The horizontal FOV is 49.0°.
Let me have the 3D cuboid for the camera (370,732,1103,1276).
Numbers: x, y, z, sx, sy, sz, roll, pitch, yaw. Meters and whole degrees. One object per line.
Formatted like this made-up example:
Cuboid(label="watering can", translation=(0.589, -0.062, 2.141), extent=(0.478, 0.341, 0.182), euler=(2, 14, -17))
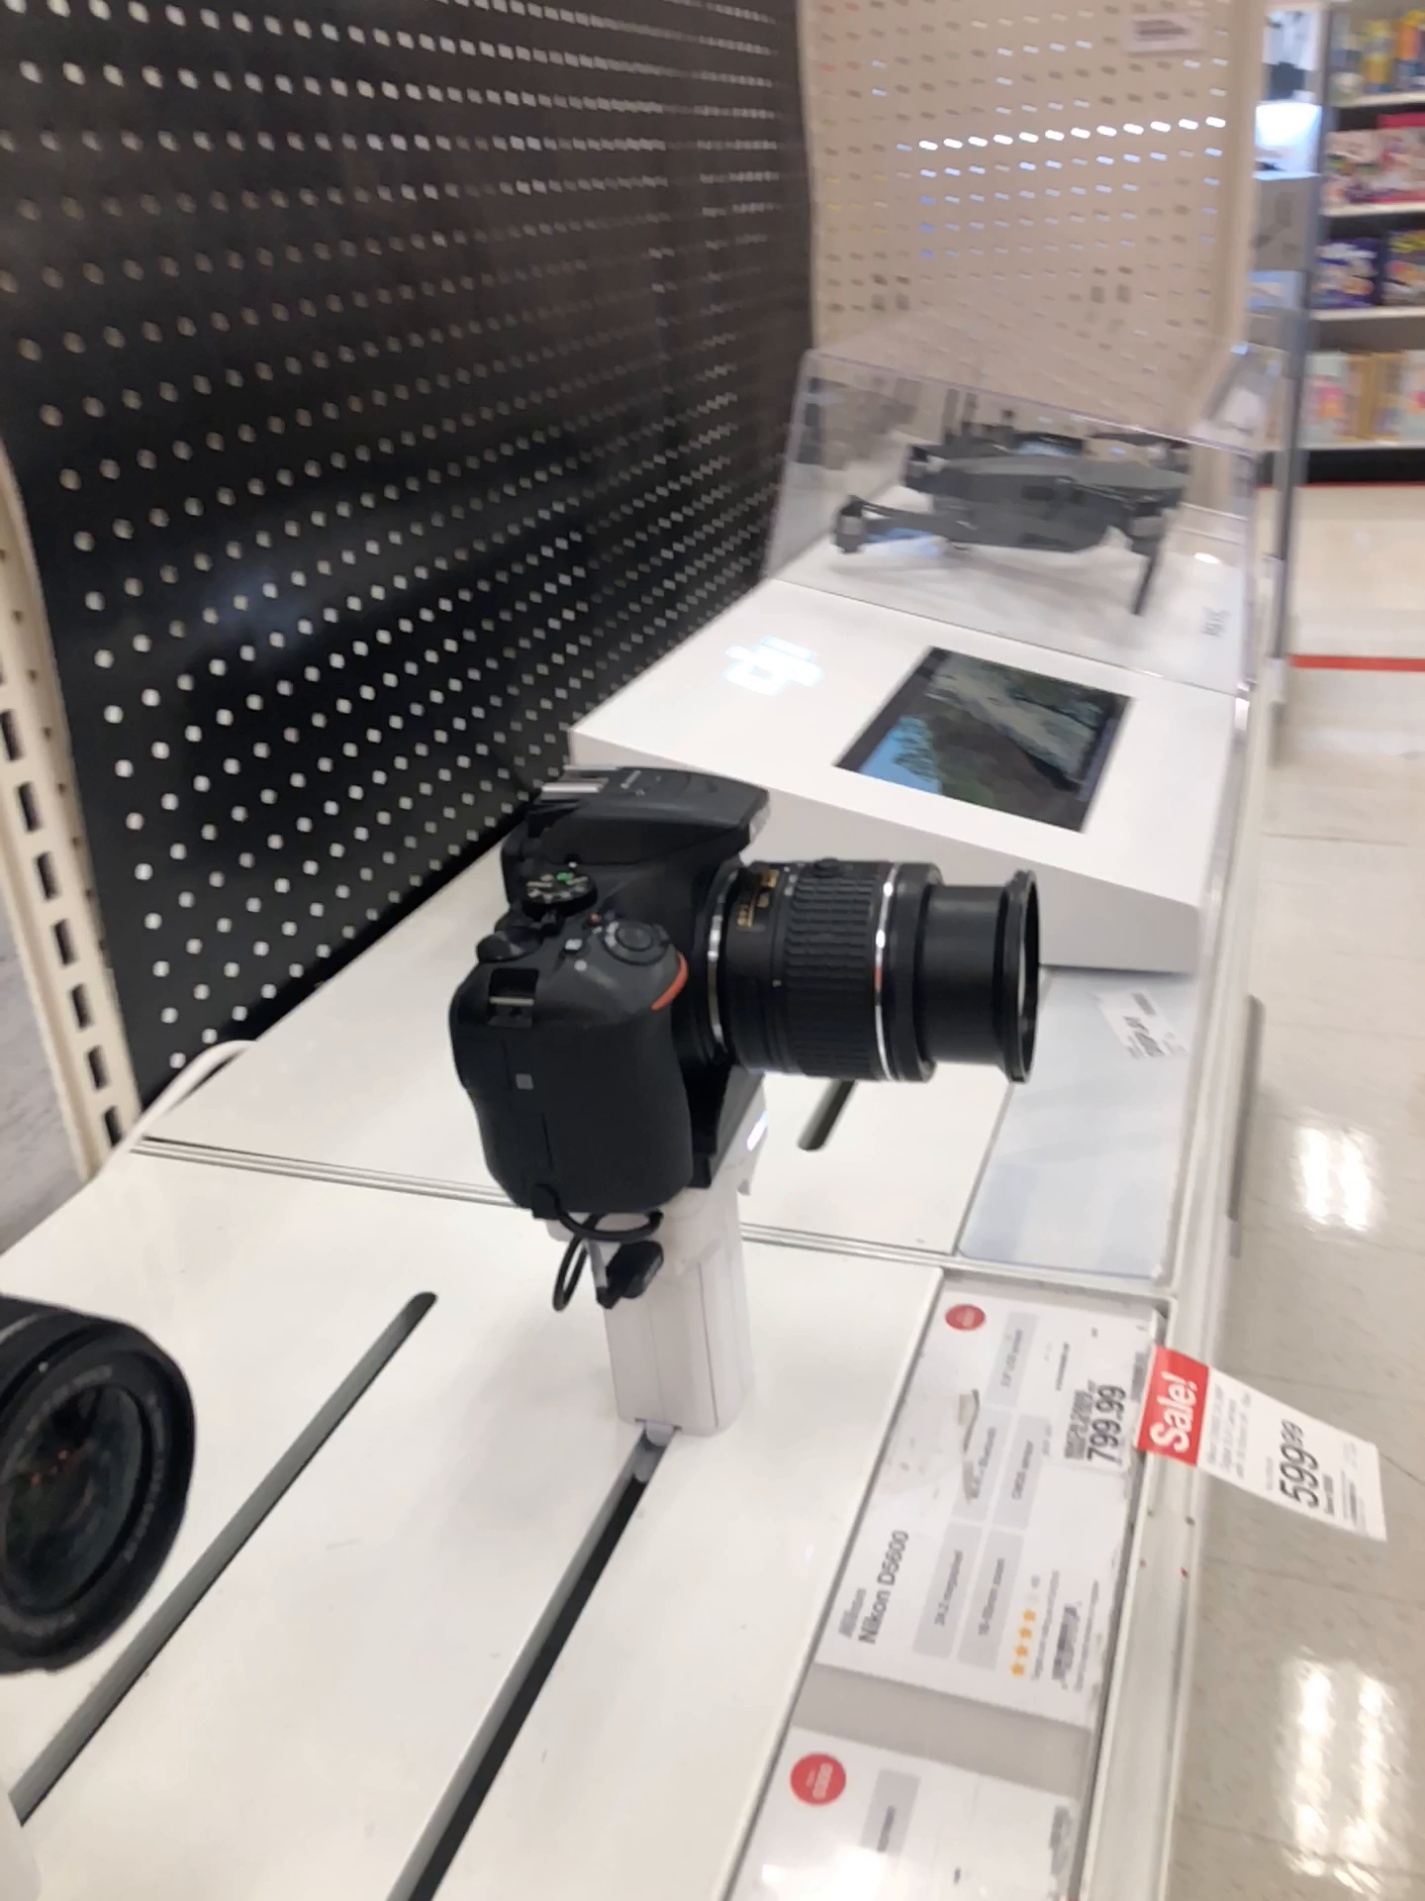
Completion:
Cuboid(label="camera", translation=(0.016, 0.005, 0.445), extent=(0.170, 0.090, 0.131), euler=(5, 27, 17))
